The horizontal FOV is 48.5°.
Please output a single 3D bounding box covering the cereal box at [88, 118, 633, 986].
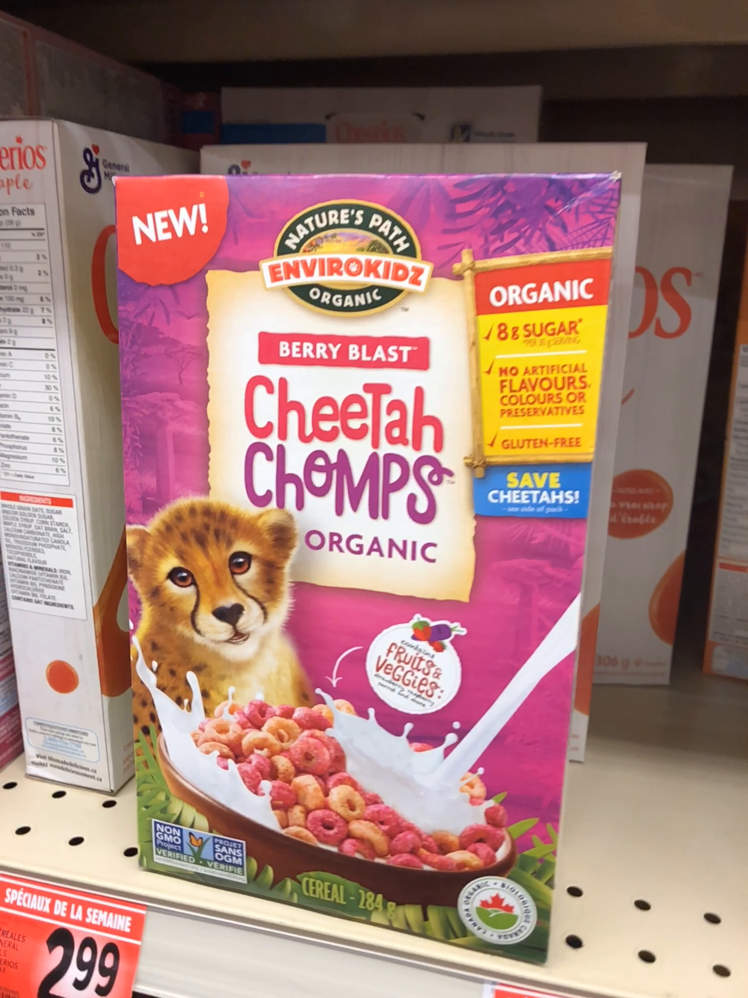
[{"bbox_3d":[-0.005,0.014,0.293,0.160,0.259,0.070,6,13,16],"label":"cereal box"}]
